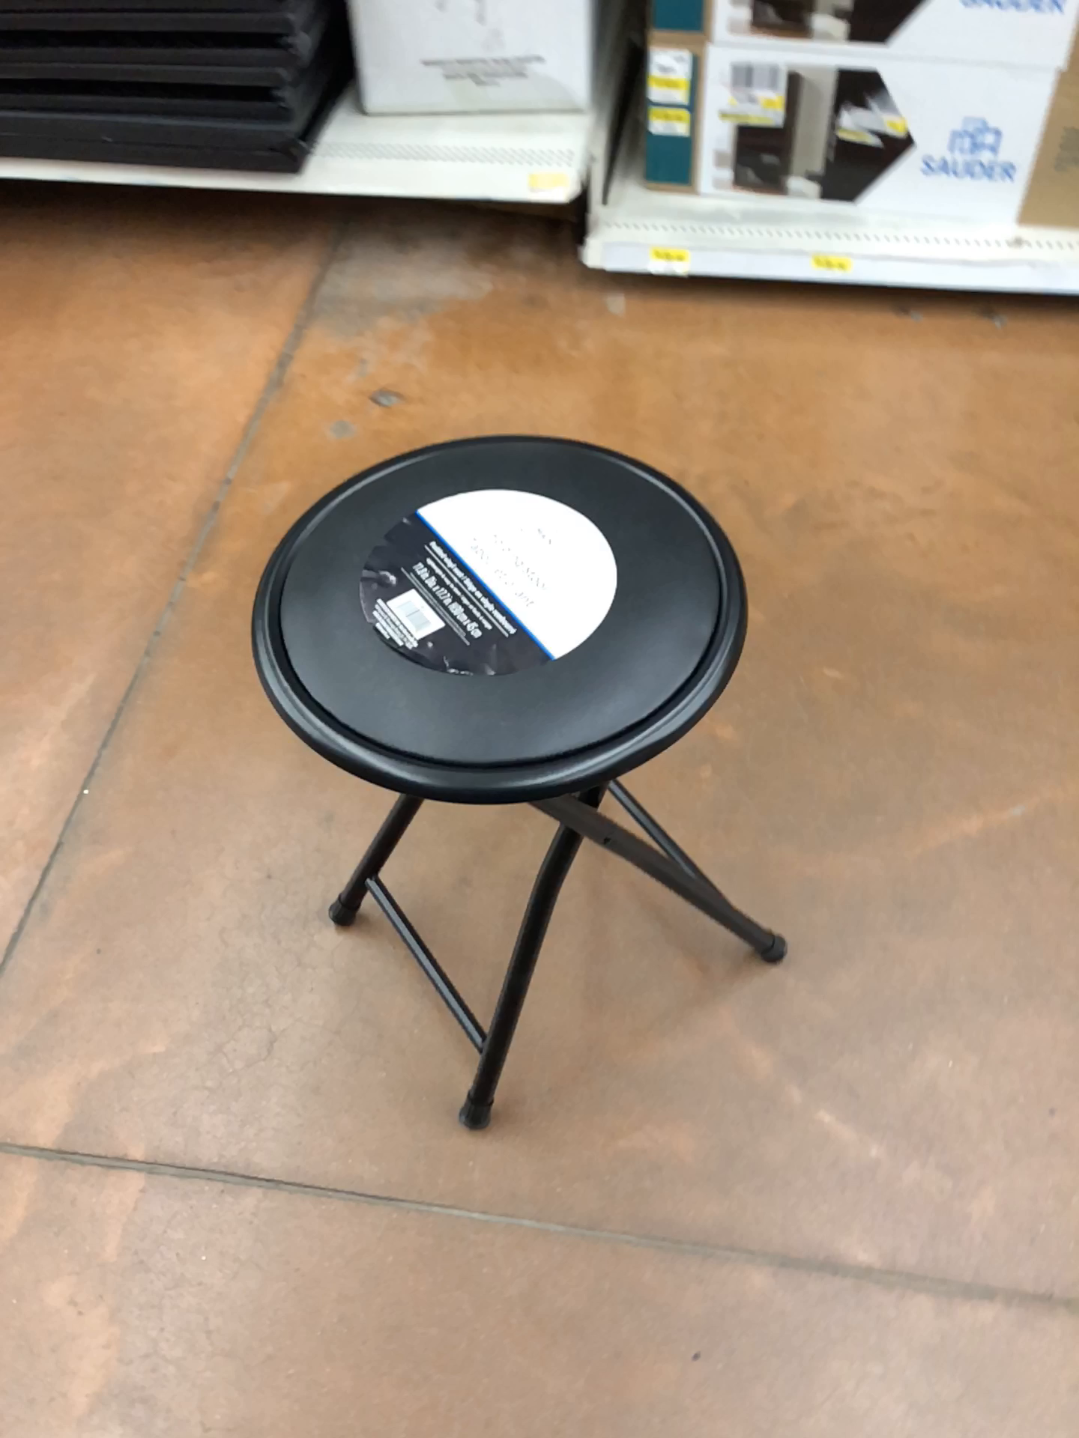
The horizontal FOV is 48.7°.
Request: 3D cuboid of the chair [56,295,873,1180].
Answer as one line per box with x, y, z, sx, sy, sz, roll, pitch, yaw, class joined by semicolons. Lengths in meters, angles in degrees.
-0.043;0.019;0.814;0.330;0.399;0.321;-30;56;-19;chair
